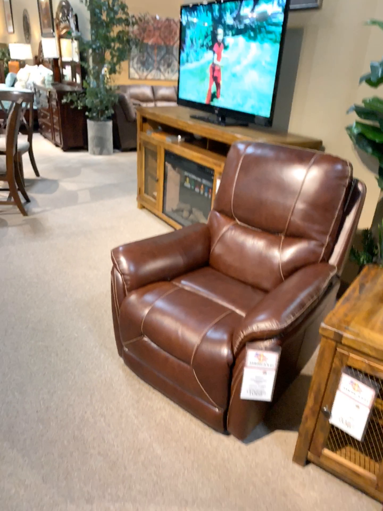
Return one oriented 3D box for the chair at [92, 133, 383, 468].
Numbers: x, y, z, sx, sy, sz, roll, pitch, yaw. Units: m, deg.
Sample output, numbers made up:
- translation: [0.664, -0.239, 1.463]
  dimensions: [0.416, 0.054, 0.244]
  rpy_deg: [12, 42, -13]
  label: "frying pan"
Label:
- translation: [0.219, 0.054, 1.769]
  dimensions: [0.849, 0.975, 0.915]
  rpy_deg: [22, 31, 33]
  label: "chair"
